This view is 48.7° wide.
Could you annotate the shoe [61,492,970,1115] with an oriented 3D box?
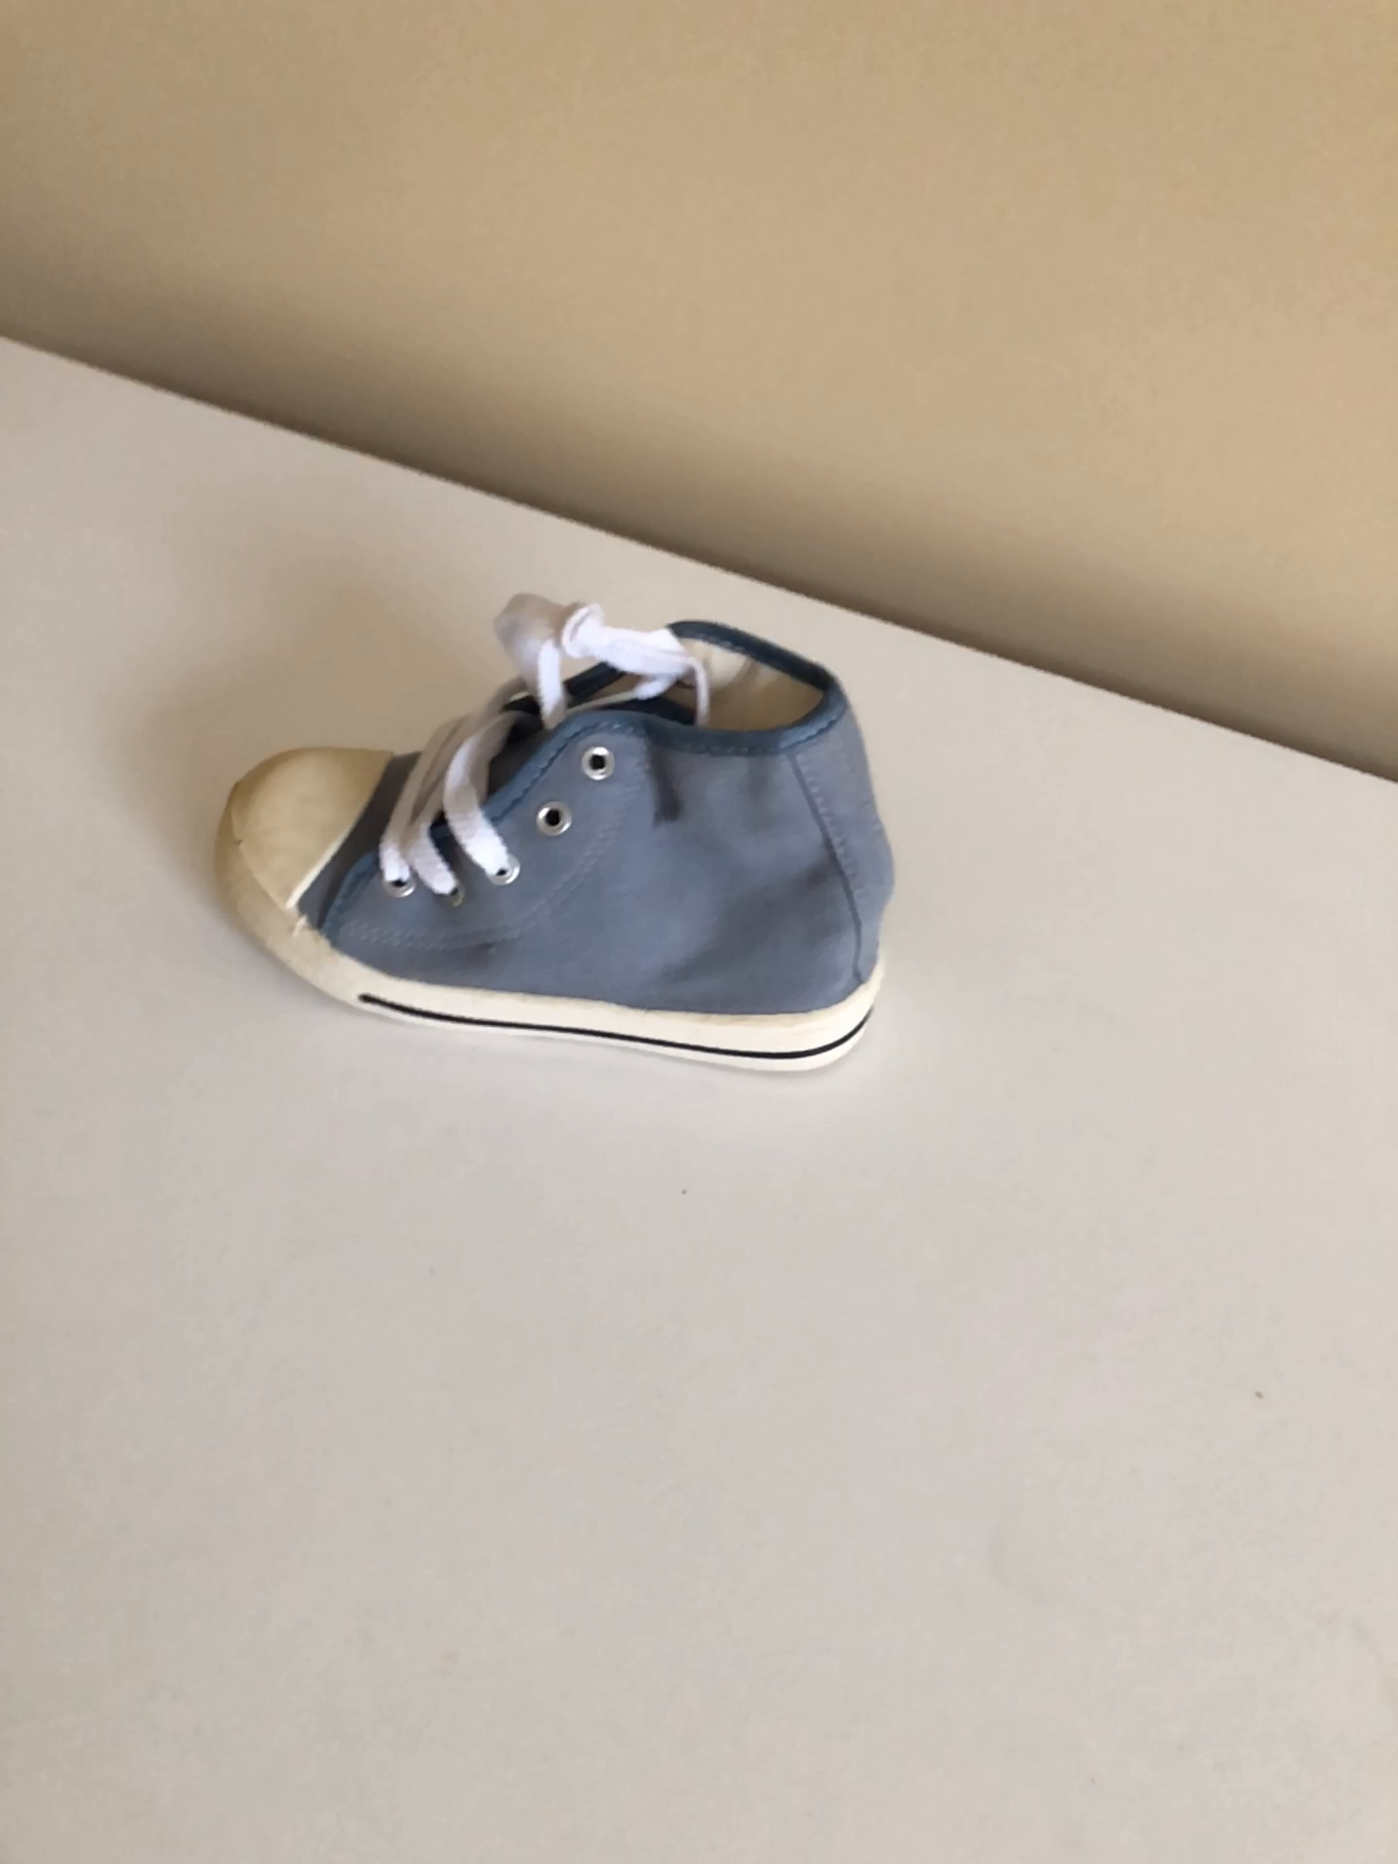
[{"bbox_3d":[-0.038,-0.033,0.386,0.190,0.099,0.080,9,47,7],"label":"shoe"}]
